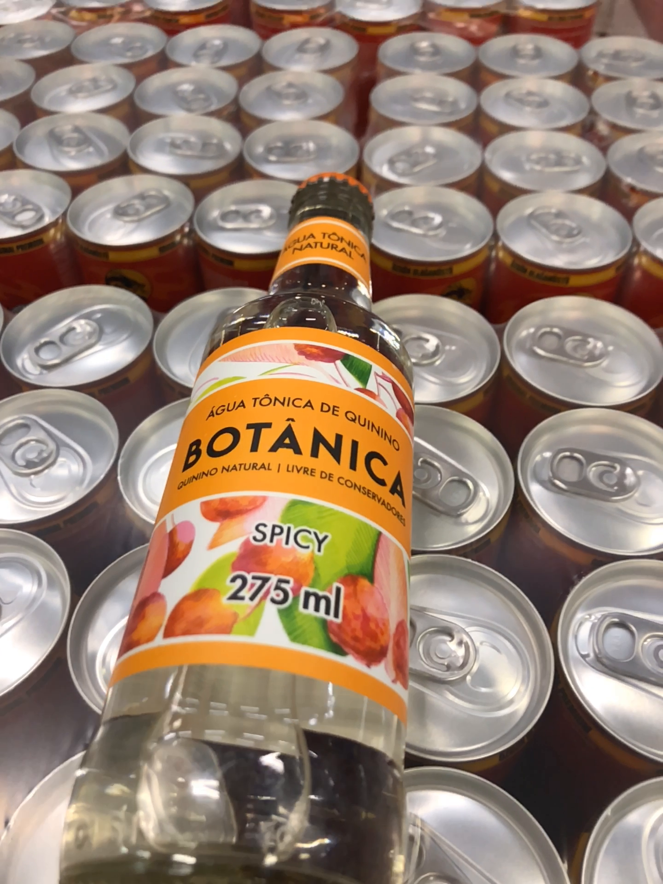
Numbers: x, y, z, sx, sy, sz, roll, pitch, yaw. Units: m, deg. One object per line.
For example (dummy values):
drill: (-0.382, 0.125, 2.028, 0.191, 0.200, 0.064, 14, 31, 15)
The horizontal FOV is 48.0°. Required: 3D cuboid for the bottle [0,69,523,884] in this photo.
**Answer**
bottle: (-0.003, -0.009, 0.173, 0.070, 0.050, 0.211, 4, 53, 3)
